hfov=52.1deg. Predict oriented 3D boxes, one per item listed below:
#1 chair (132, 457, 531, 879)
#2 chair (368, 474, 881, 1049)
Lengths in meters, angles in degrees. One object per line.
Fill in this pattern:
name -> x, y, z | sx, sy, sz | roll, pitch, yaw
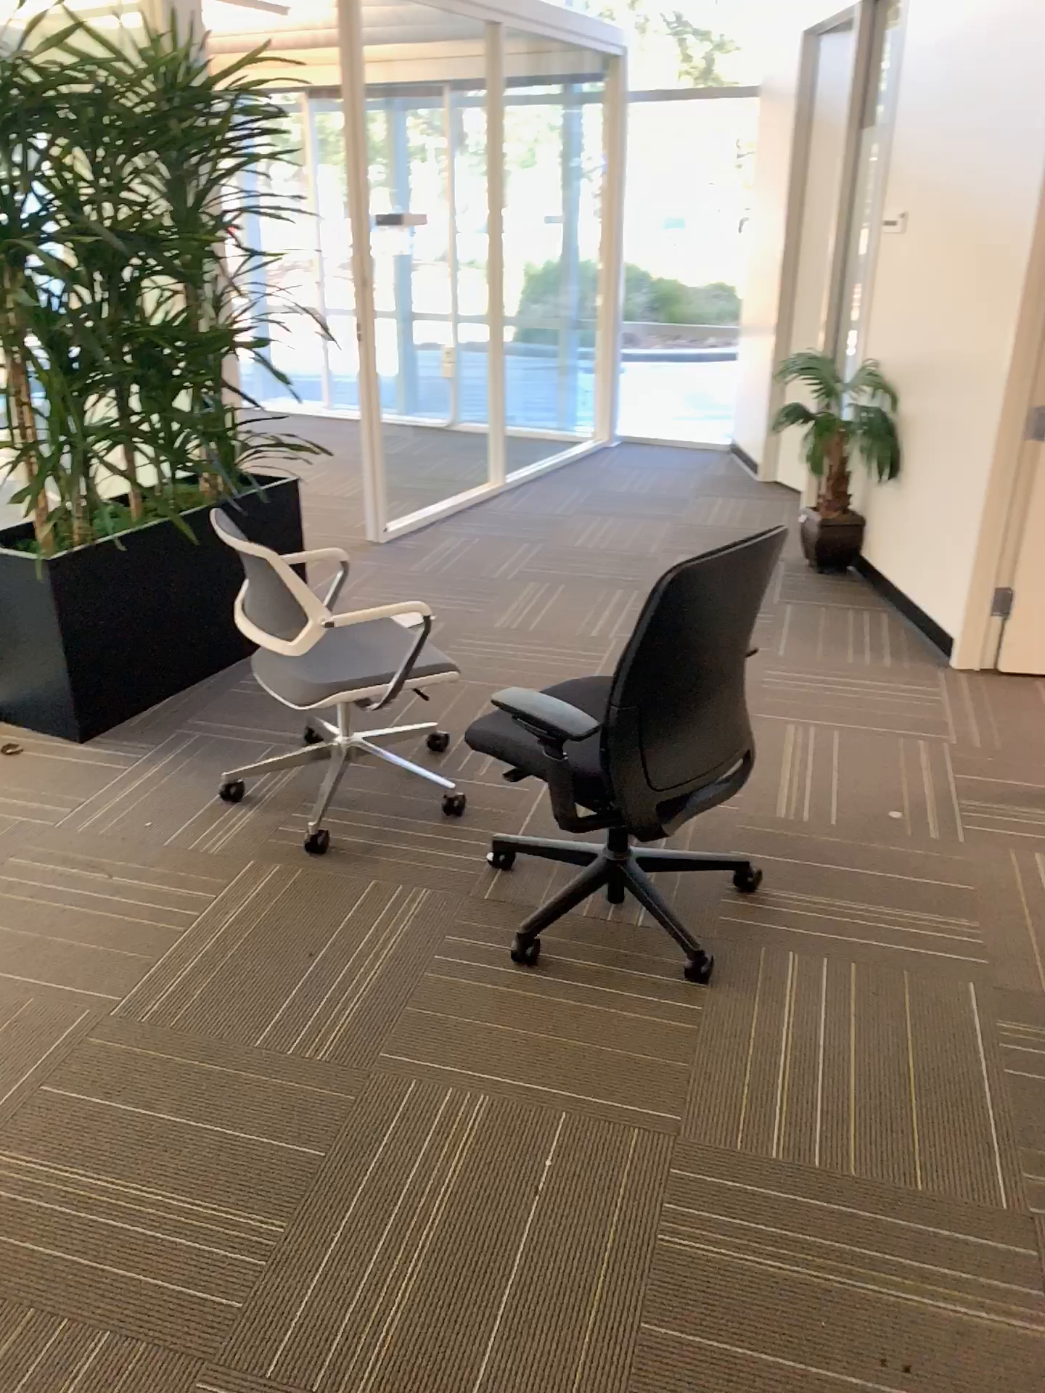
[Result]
chair -> -0.527, -0.148, 2.980 | 0.740, 0.795, 0.844 | -16, 29, -32
chair -> 0.211, 0.064, 2.406 | 0.771, 0.885, 0.743 | -21, 32, -39
